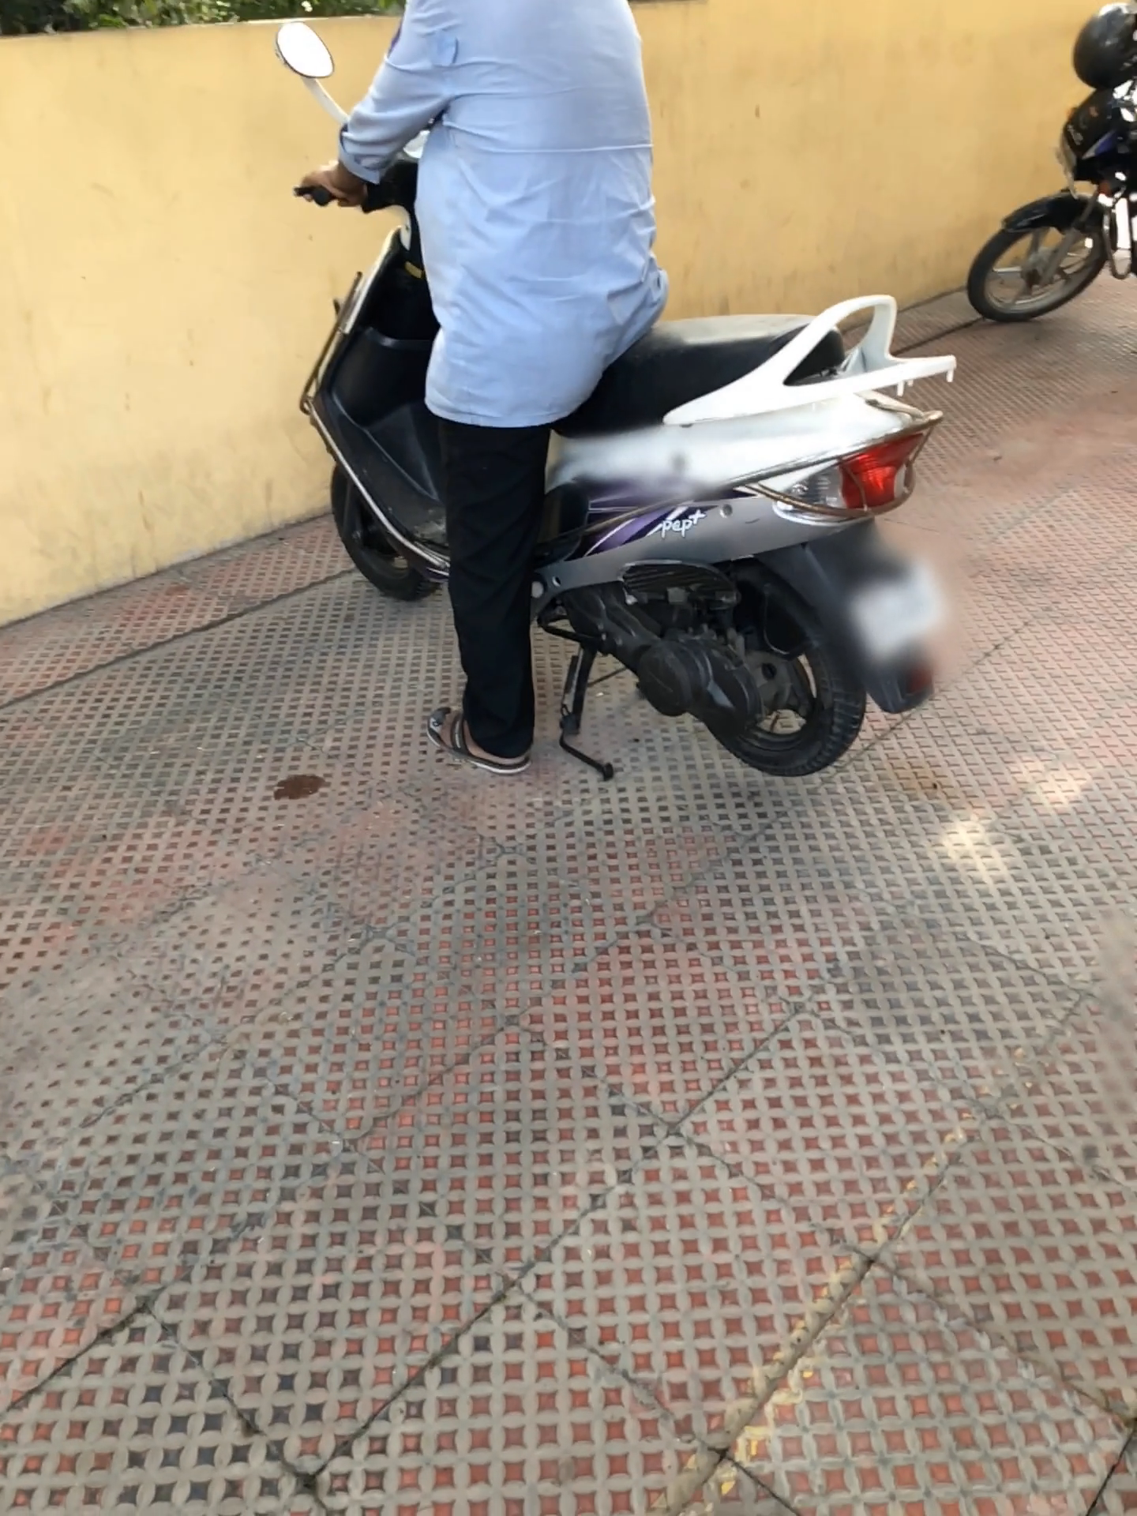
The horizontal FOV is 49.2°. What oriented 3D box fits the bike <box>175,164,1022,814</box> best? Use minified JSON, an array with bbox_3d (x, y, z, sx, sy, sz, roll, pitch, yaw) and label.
[{"bbox_3d":[-0.061,-0.658,2.452,0.601,0.816,1.612,-26,38,-33],"label":"bike"}]
